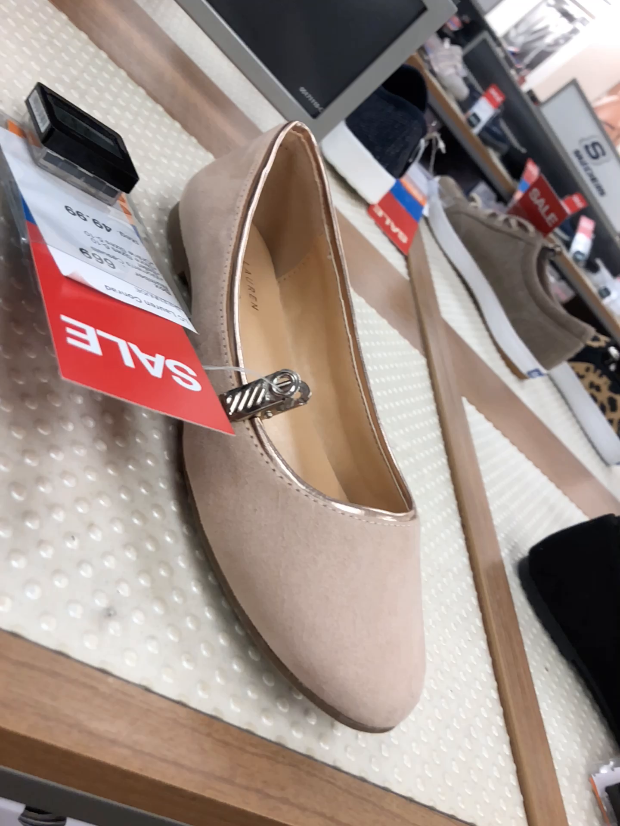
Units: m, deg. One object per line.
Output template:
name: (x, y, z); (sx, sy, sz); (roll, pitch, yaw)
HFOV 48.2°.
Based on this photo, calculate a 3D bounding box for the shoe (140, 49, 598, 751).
shoe: (0.005, -0.016, 0.242); (0.085, 0.063, 0.228); (25, 40, -45)
